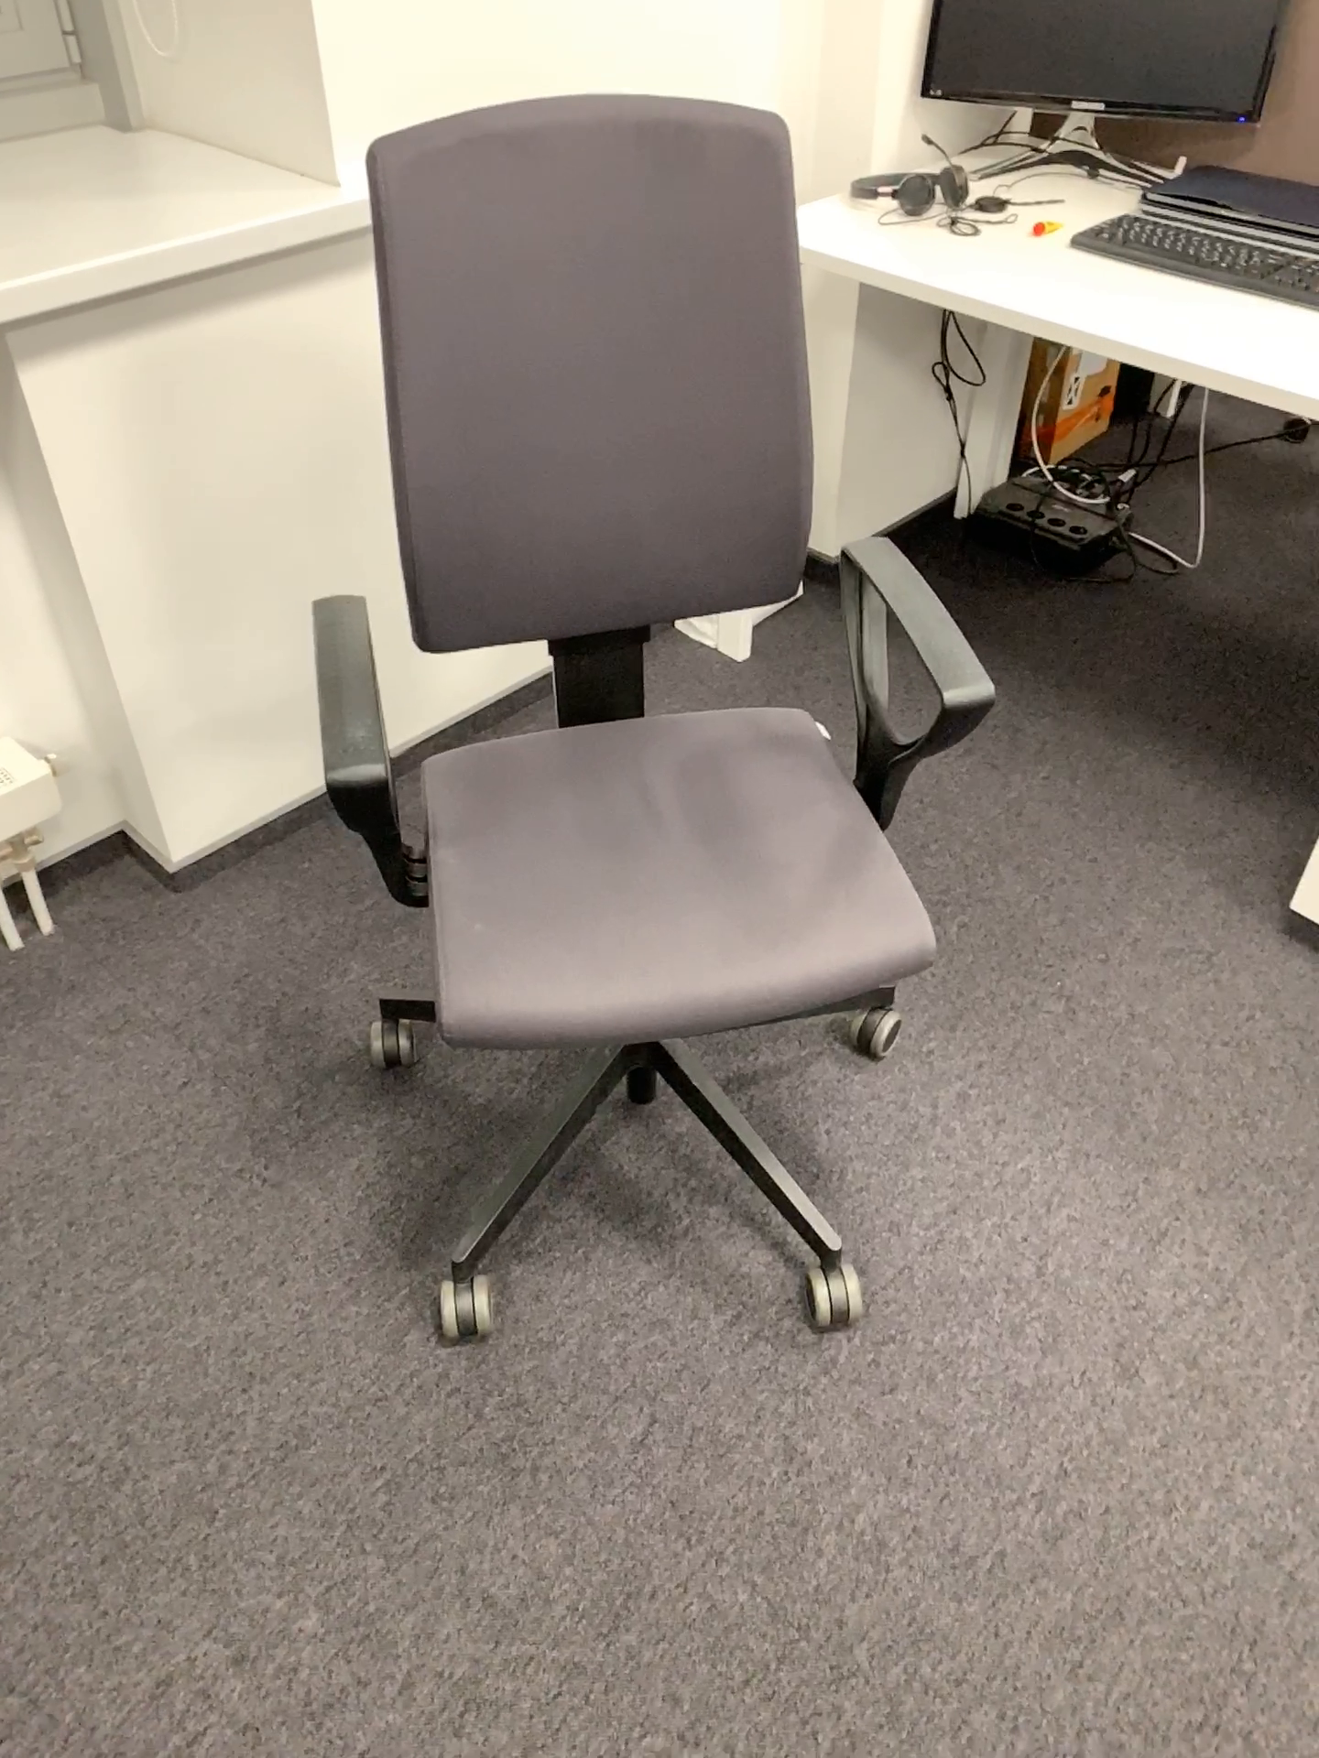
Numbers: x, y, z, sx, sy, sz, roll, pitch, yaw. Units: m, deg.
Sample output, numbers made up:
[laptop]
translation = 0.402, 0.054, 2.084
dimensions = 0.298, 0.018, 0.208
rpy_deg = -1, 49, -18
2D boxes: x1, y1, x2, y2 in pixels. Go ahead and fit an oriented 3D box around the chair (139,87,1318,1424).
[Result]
[chair]
translation = -0.015, -0.124, 1.379
dimensions = 0.700, 1.044, 0.754
rpy_deg = -8, 42, -10
